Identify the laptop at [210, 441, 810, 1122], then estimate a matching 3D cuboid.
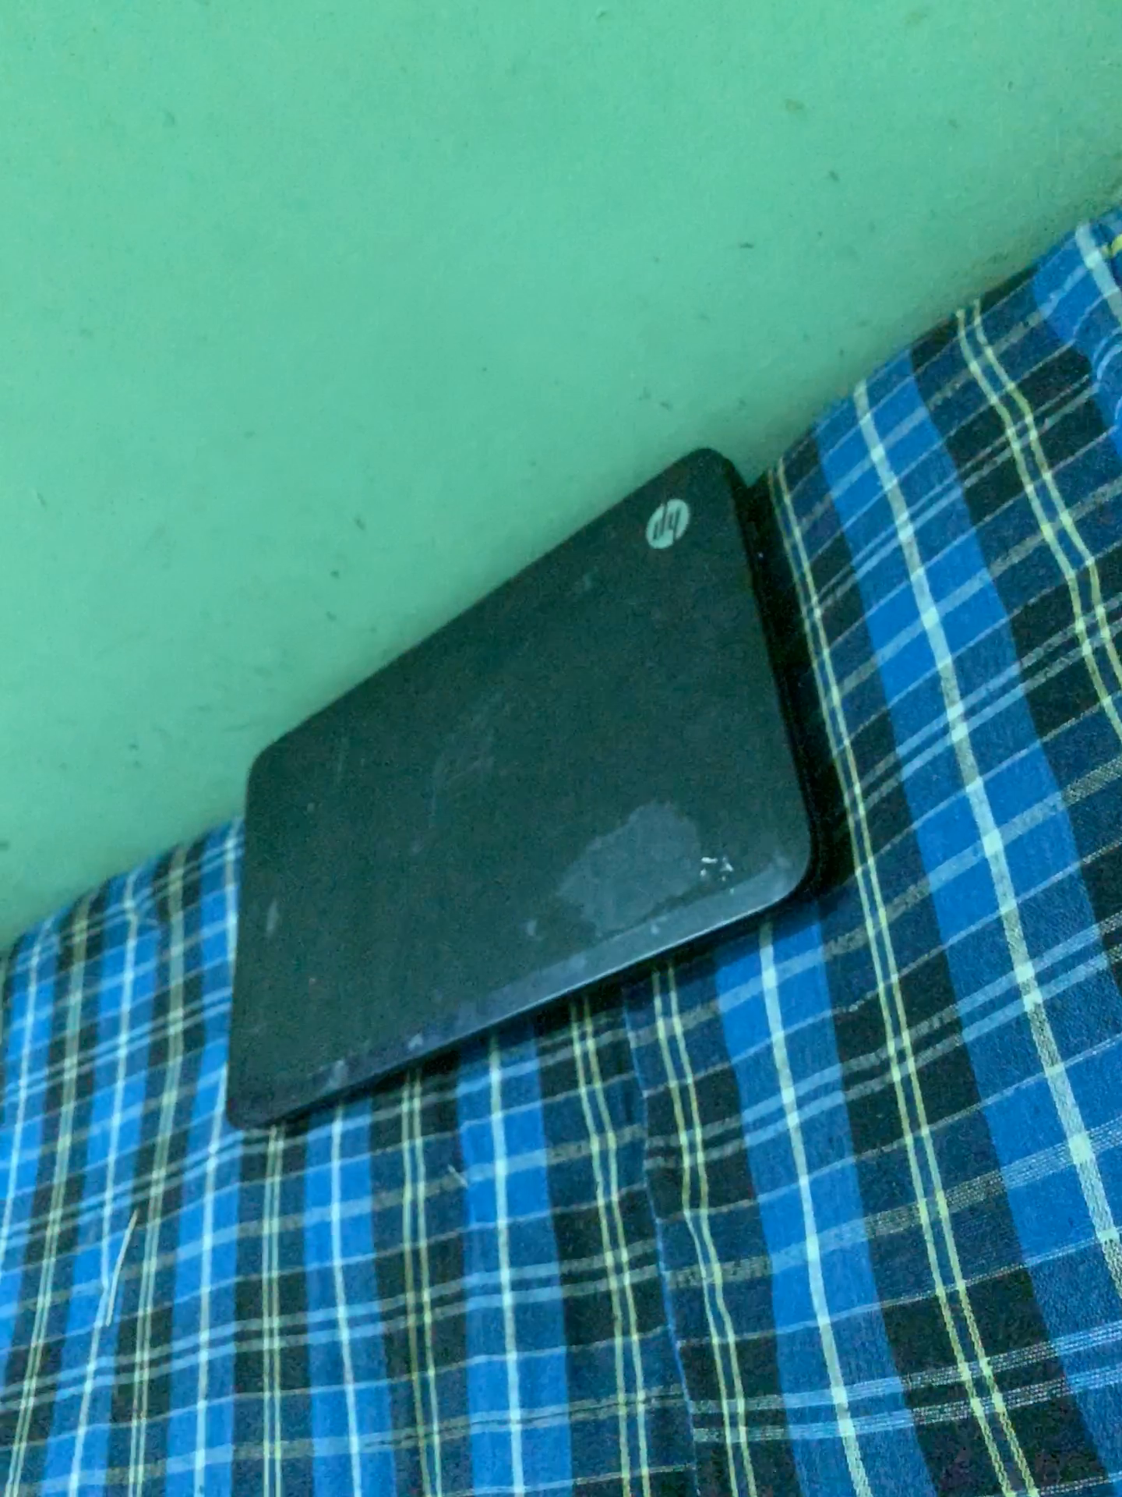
[{"bbox_3d":[-0.053,0.027,0.566,0.347,0.018,0.217,-30,50,32],"label":"laptop"}]
